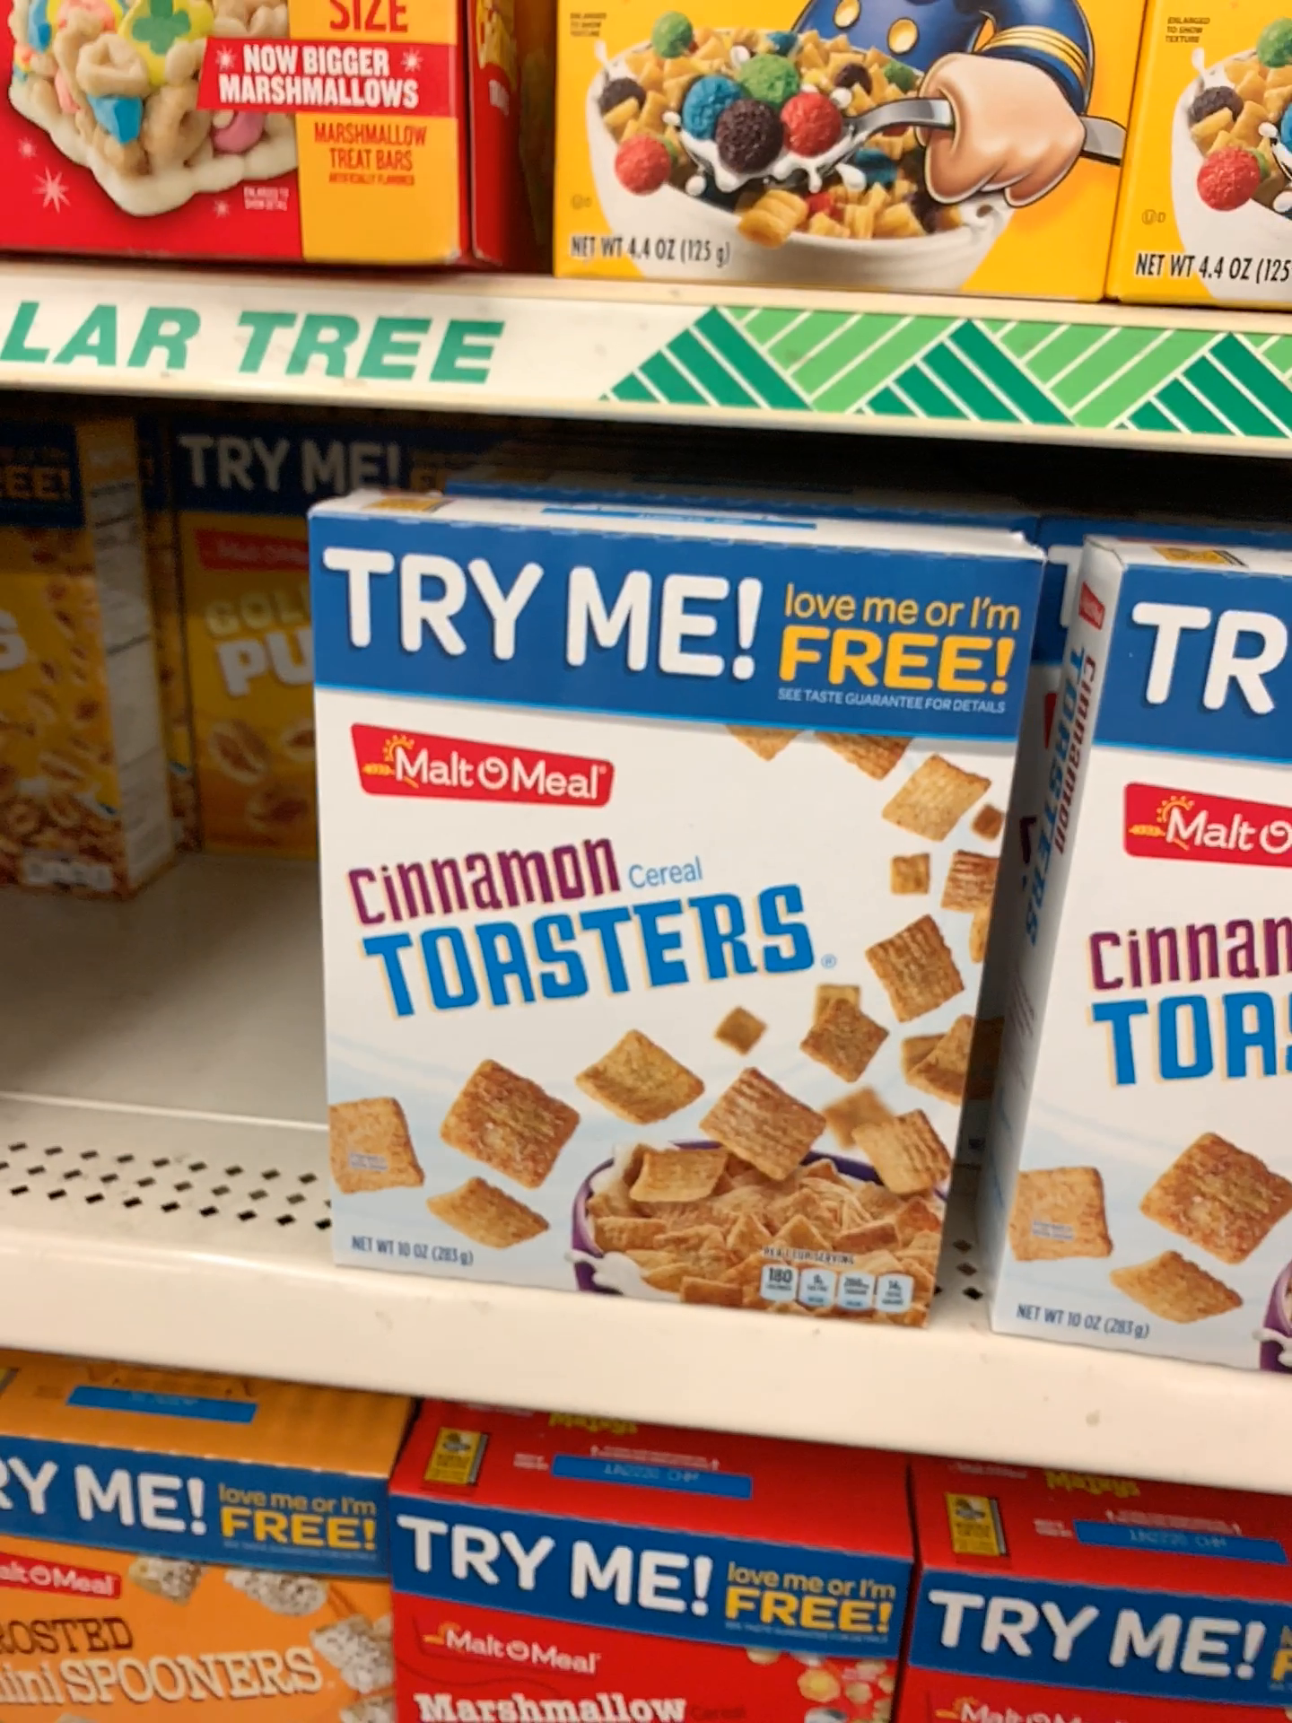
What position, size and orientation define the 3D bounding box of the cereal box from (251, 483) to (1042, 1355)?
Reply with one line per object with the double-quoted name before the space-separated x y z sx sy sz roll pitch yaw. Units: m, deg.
"cereal box" -0.006 0.019 0.350 0.170 0.209 0.050 5 22 3
